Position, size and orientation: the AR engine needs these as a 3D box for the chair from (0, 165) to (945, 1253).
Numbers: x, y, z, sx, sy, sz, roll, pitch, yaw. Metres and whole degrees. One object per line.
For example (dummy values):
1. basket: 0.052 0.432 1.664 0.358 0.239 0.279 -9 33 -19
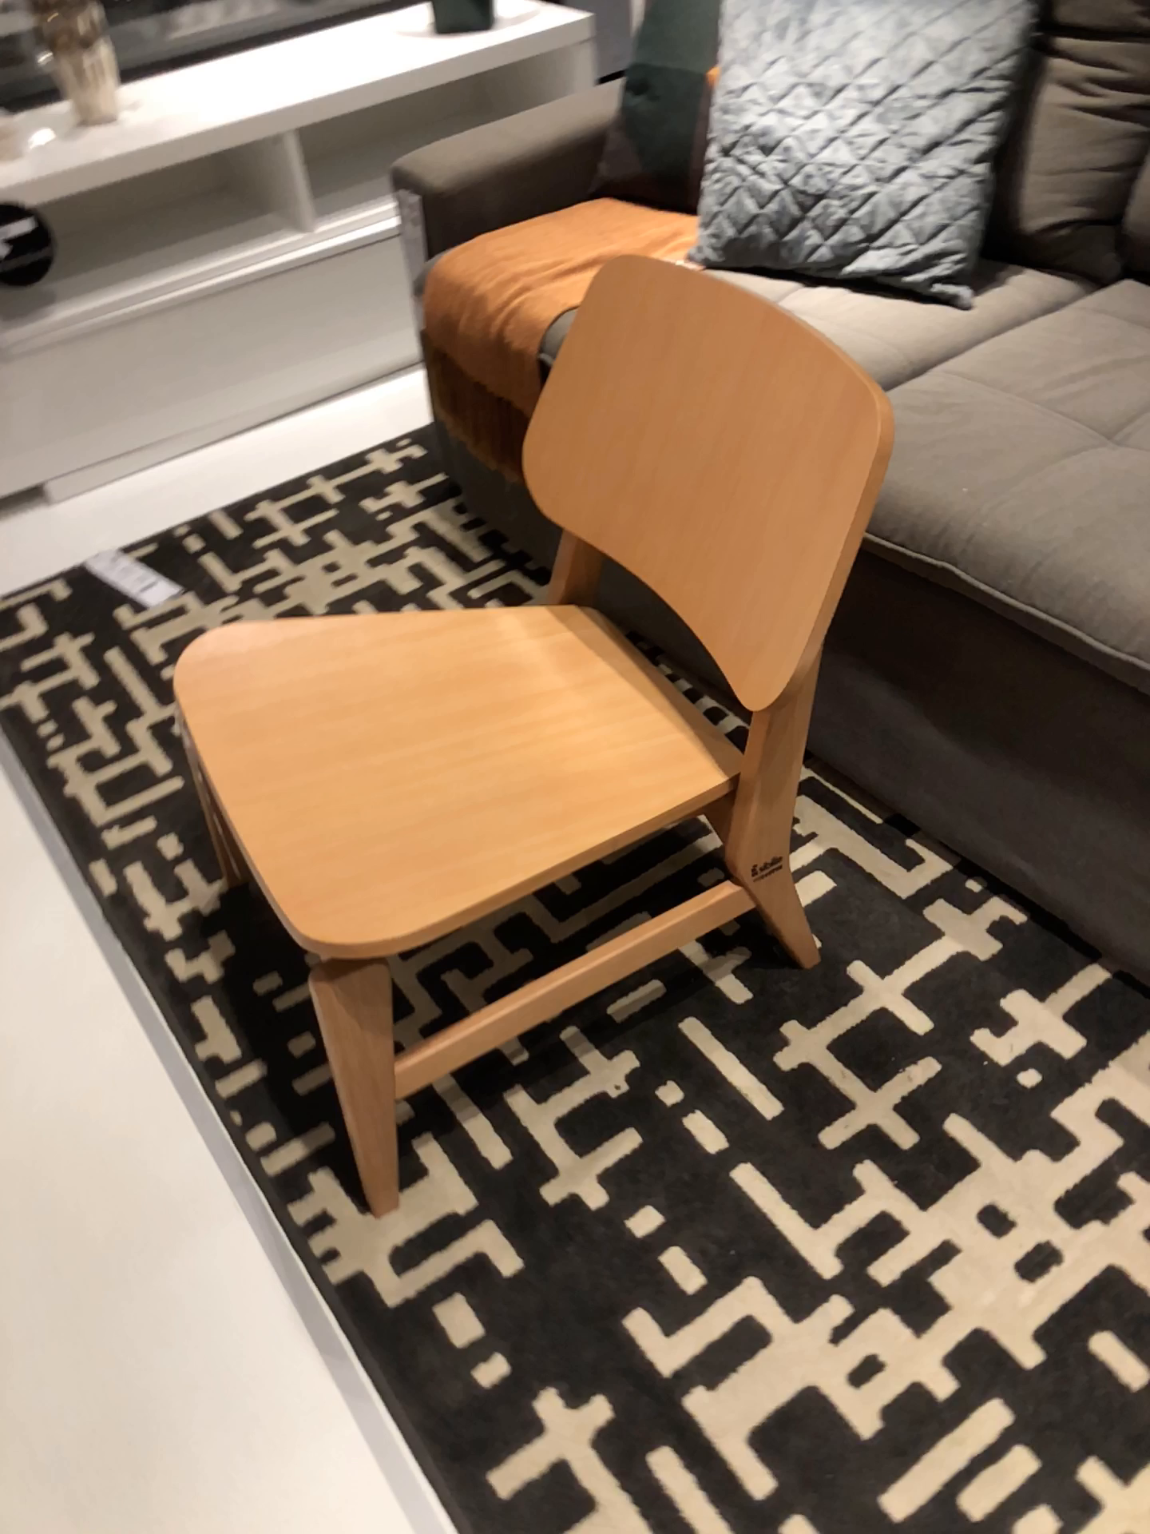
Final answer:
1. chair: -0.140 -0.103 1.234 0.651 0.625 0.644 -24 45 -17
